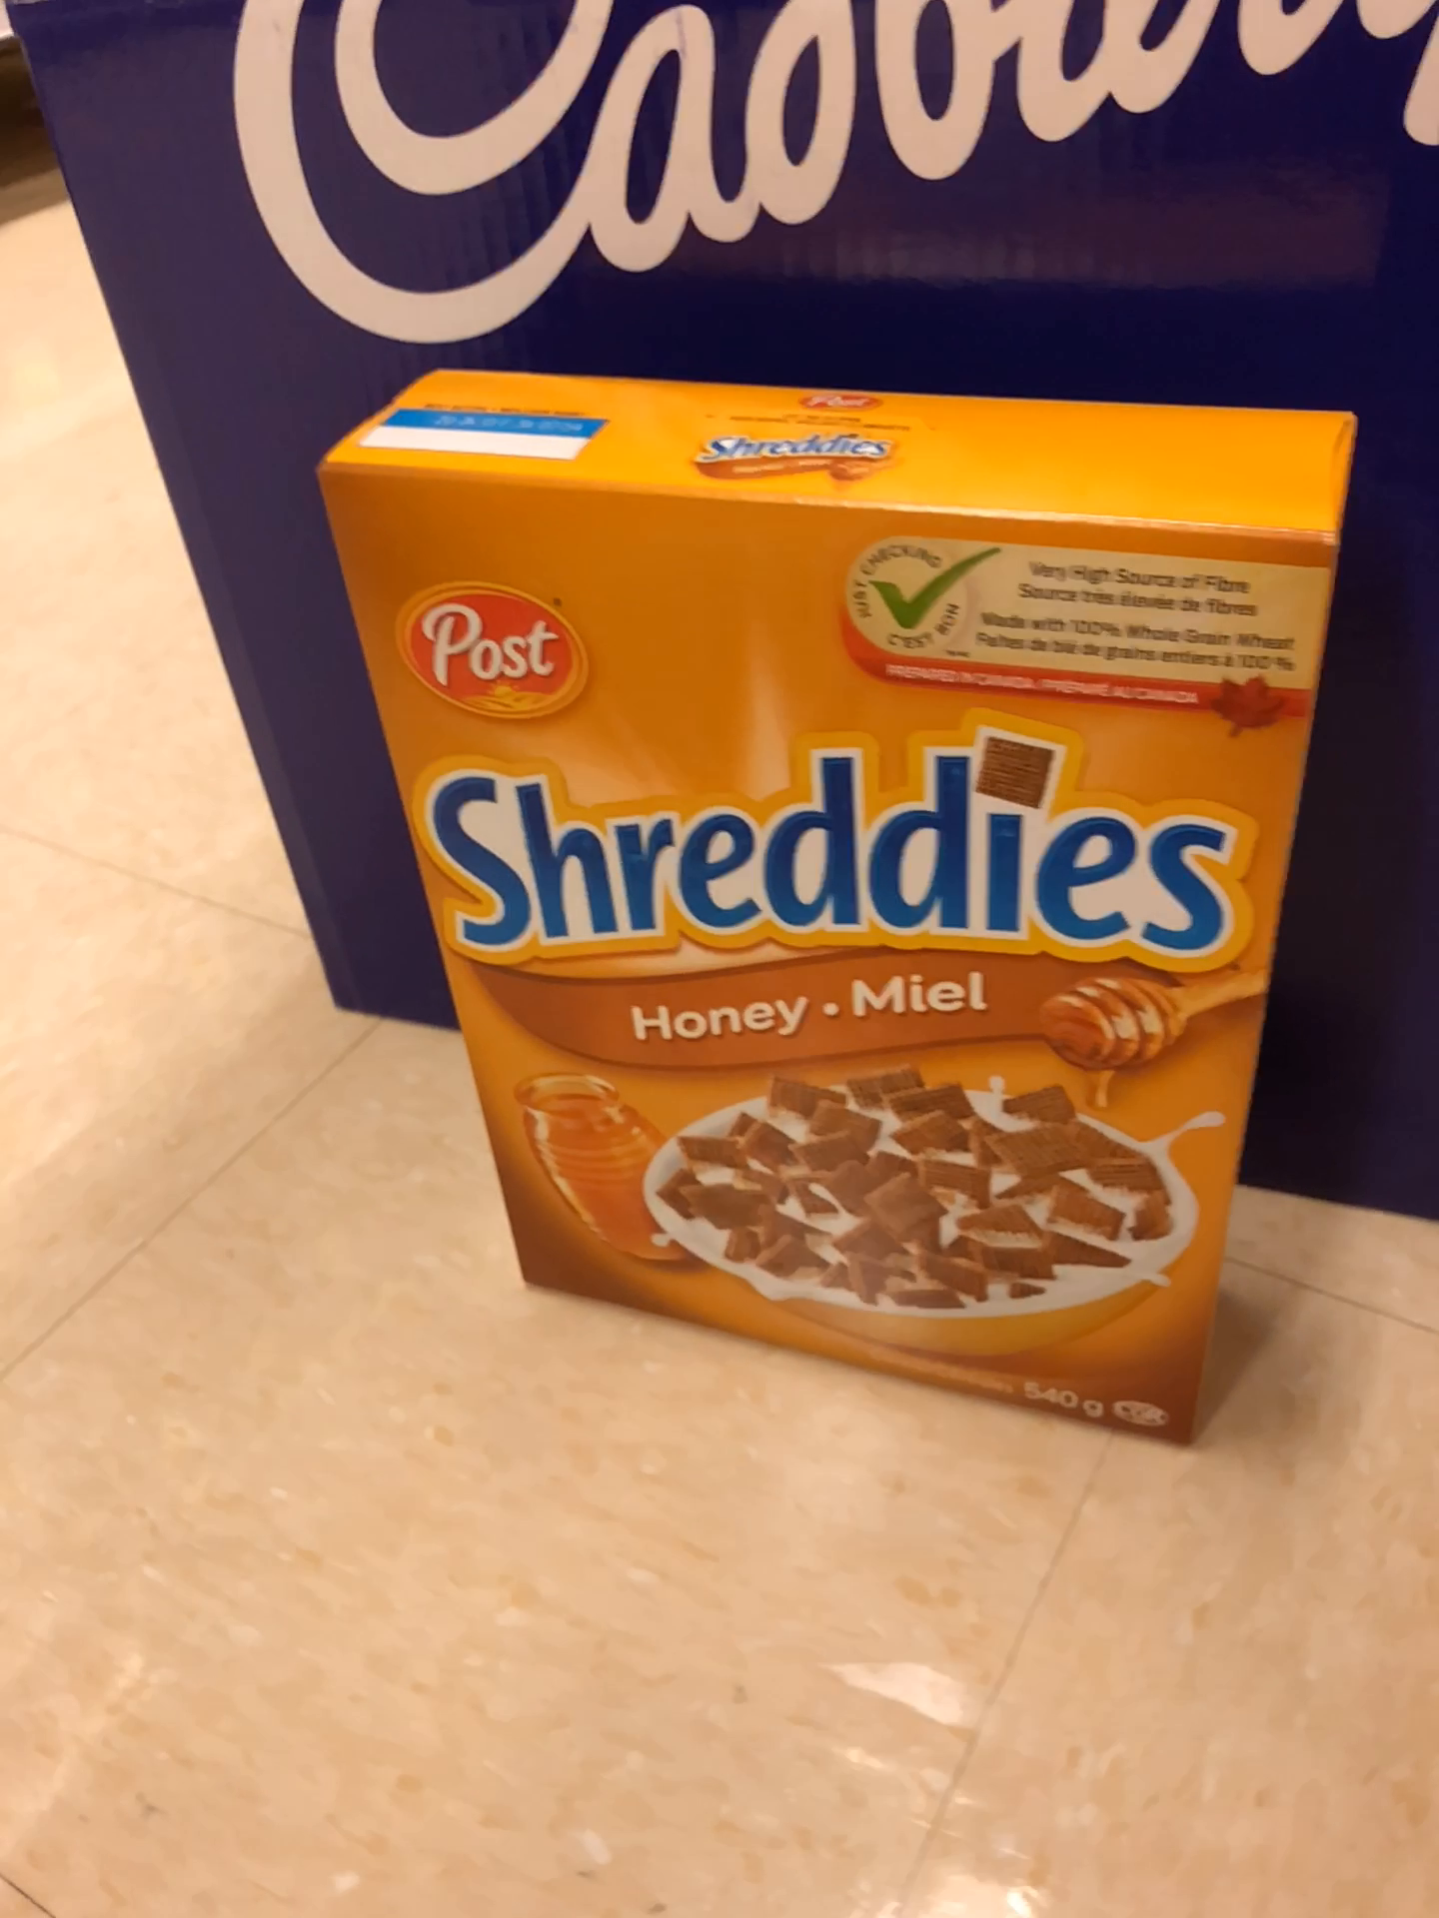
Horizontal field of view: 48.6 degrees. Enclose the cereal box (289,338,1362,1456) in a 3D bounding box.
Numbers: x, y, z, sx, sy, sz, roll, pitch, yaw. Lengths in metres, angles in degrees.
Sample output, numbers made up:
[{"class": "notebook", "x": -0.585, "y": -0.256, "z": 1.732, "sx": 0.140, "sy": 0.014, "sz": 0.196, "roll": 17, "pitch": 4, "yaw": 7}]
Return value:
[{"class": "cereal box", "x": 0.032, "y": -0.006, "z": 0.416, "sx": 0.210, "sy": 0.278, "sz": 0.070, "roll": 9, "pitch": 42, "yaw": 19}]
